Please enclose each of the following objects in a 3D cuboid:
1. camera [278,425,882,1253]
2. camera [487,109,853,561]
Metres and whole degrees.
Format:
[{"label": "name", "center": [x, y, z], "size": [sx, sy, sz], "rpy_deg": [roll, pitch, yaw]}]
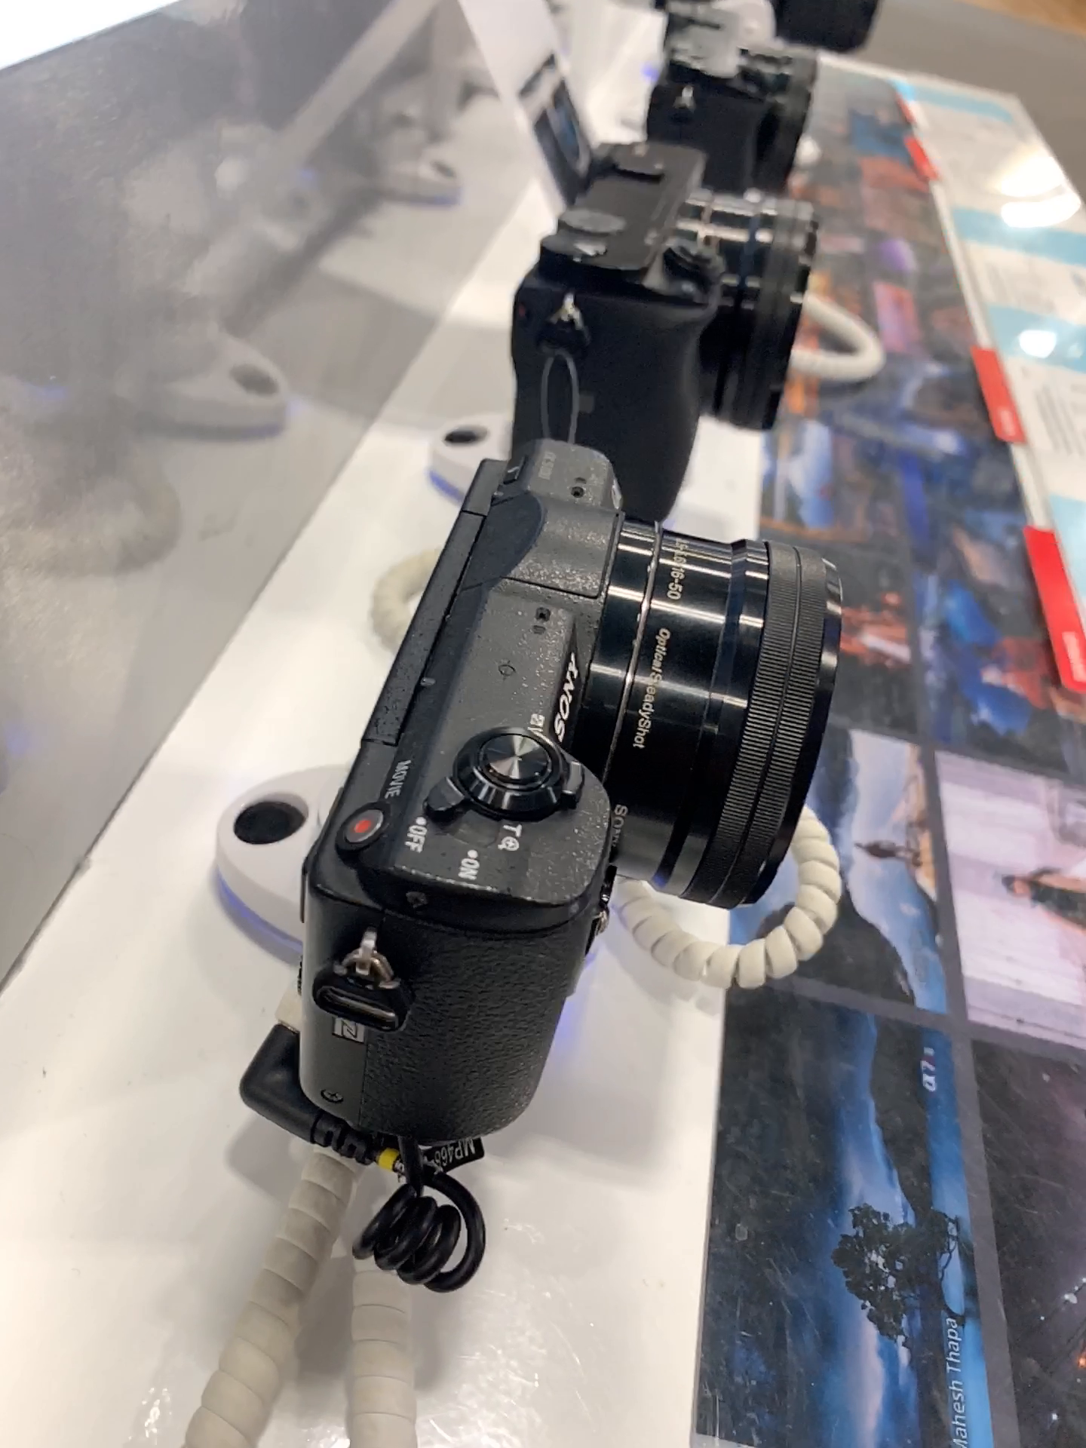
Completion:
[{"label": "camera", "center": [0.008, 0.011, 0.188], "size": [0.066, 0.060, 0.113], "rpy_deg": [14, 41, -1]}, {"label": "camera", "center": [0.039, -0.112, 0.309], "size": [0.071, 0.060, 0.137], "rpy_deg": [13, 41, 5]}]
